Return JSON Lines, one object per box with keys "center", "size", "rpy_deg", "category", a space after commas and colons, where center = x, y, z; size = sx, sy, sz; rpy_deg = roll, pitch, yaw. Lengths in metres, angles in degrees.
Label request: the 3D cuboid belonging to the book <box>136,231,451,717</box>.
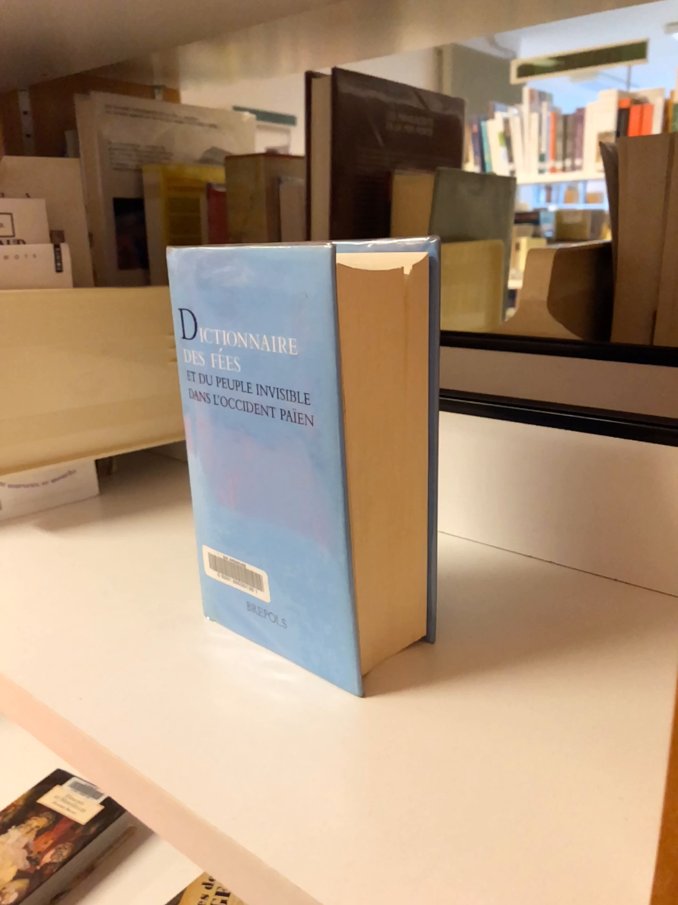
{"center": [-0.019, 0.000, 0.340], "size": [0.125, 0.186, 0.060], "rpy_deg": [13, 24, 42], "category": "book"}
